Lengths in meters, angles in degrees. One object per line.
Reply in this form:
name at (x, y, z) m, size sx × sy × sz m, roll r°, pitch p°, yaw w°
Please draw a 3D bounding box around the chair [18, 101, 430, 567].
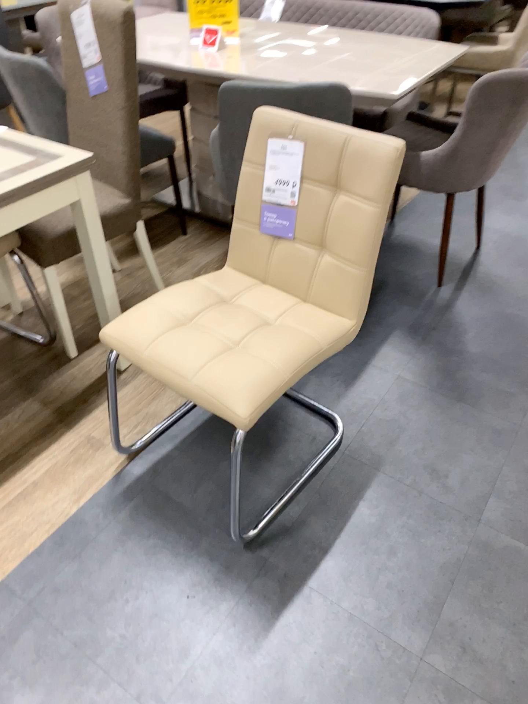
chair at (-0.052, -0.074, 1.350) m, size 0.531 × 0.815 × 0.652 m, roll 27°, pitch 47°, yaw 30°
